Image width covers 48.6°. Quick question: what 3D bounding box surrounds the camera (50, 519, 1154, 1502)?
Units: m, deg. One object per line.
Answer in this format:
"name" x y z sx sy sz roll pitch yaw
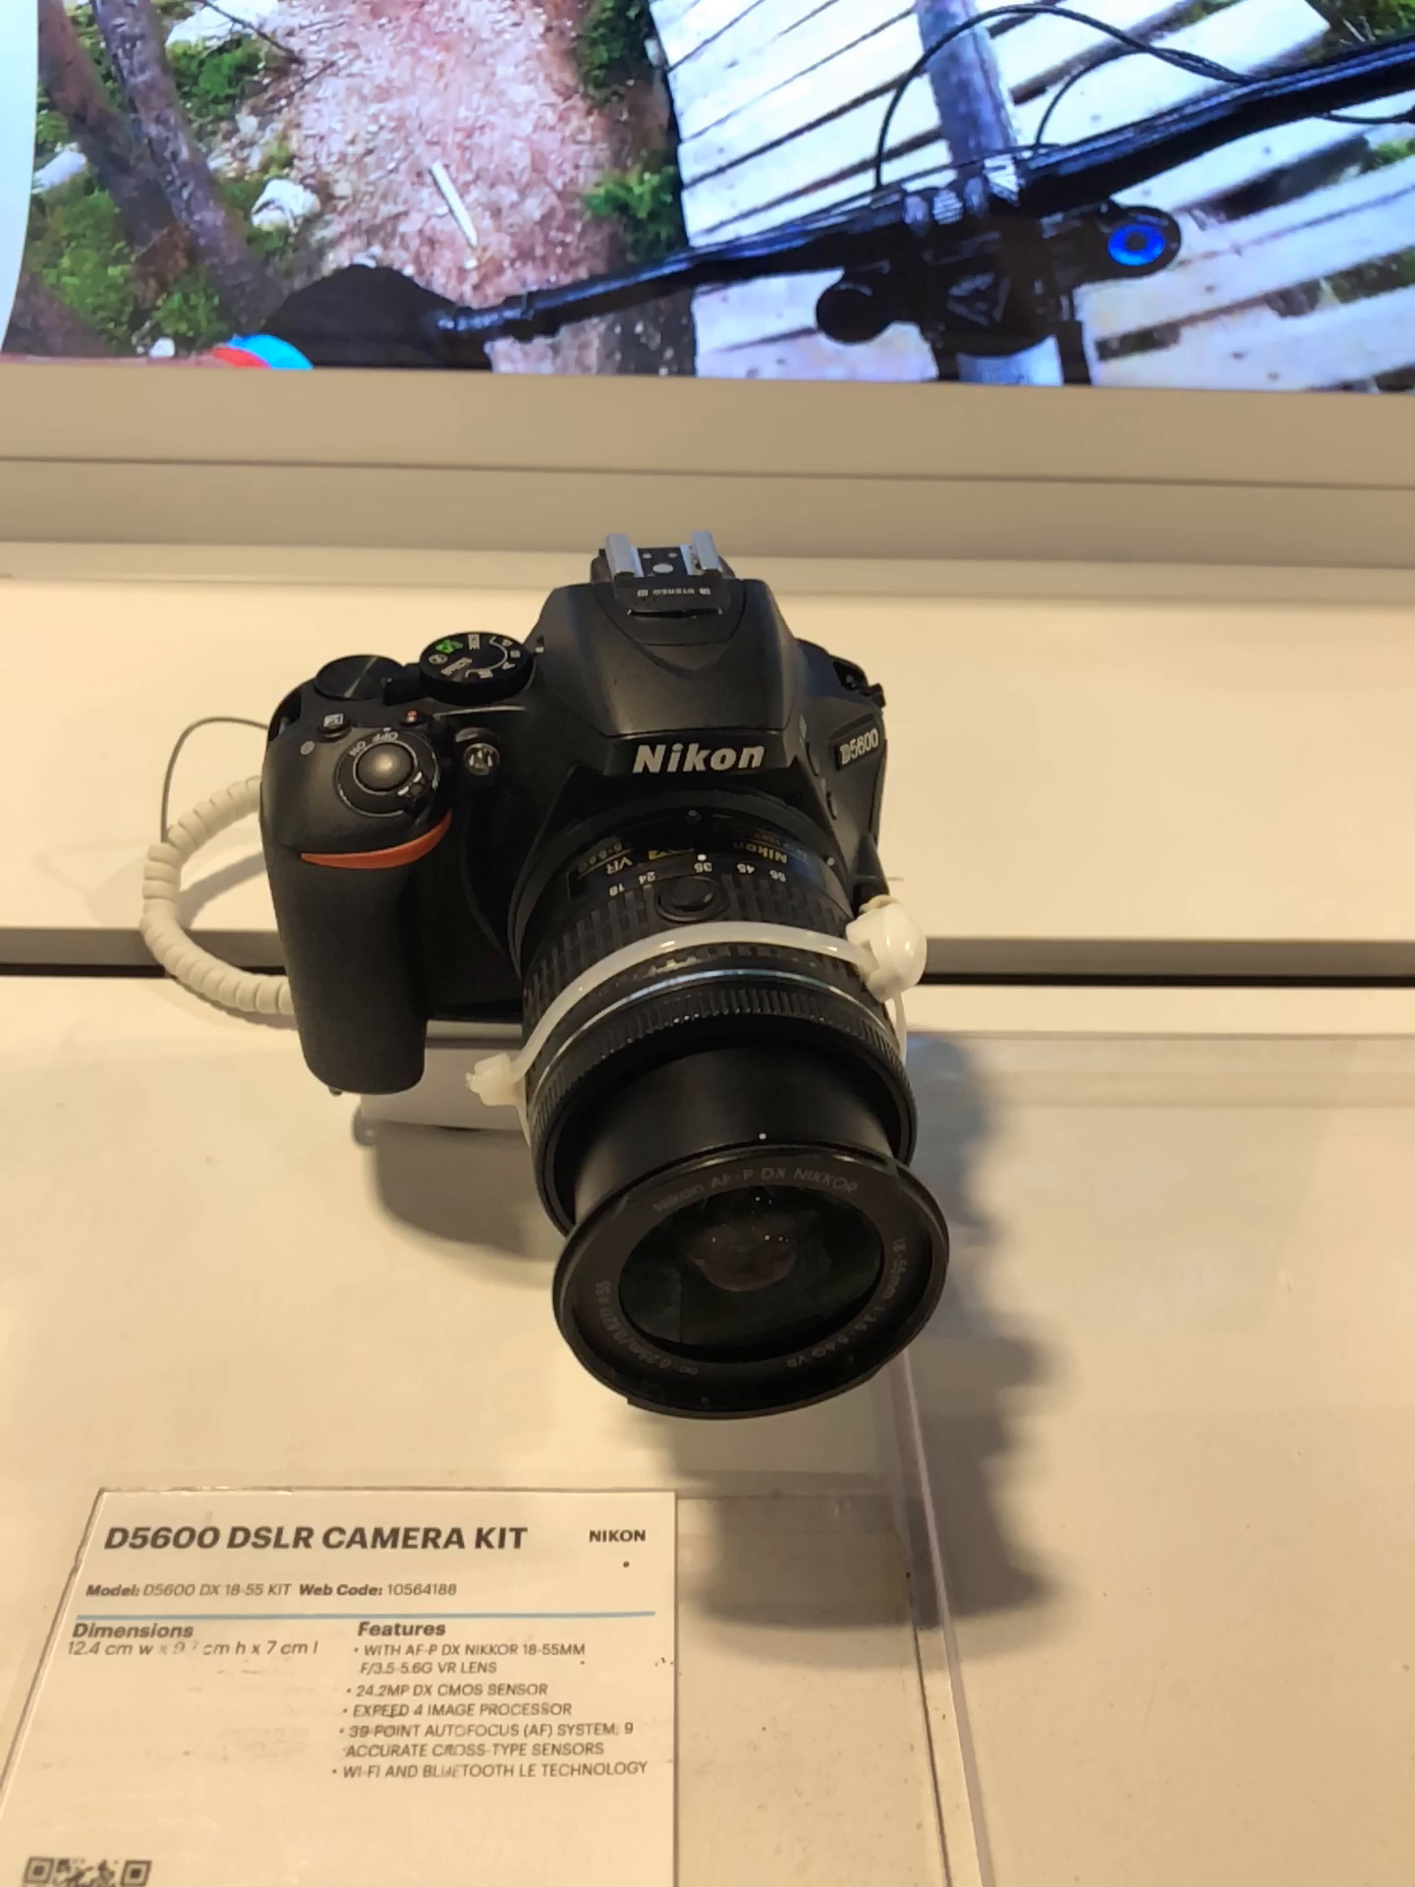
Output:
"camera" -0.020 0.000 0.267 0.130 0.089 0.141 -4 37 -7
